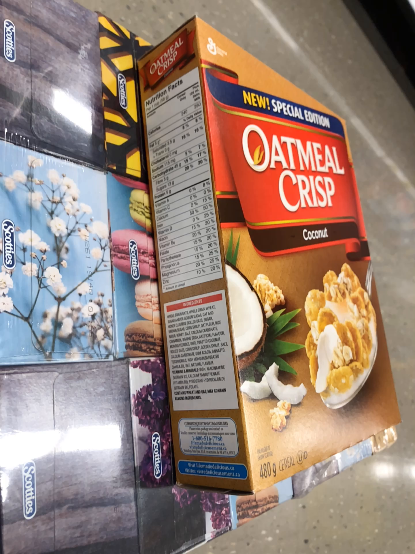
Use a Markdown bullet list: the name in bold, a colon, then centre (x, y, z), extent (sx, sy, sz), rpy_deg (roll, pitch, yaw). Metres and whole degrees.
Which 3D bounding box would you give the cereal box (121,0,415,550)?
- **cereal box**: centre (0.055, -0.005, 0.325), extent (0.211, 0.060, 0.290), rpy_deg (10, 66, -44)
